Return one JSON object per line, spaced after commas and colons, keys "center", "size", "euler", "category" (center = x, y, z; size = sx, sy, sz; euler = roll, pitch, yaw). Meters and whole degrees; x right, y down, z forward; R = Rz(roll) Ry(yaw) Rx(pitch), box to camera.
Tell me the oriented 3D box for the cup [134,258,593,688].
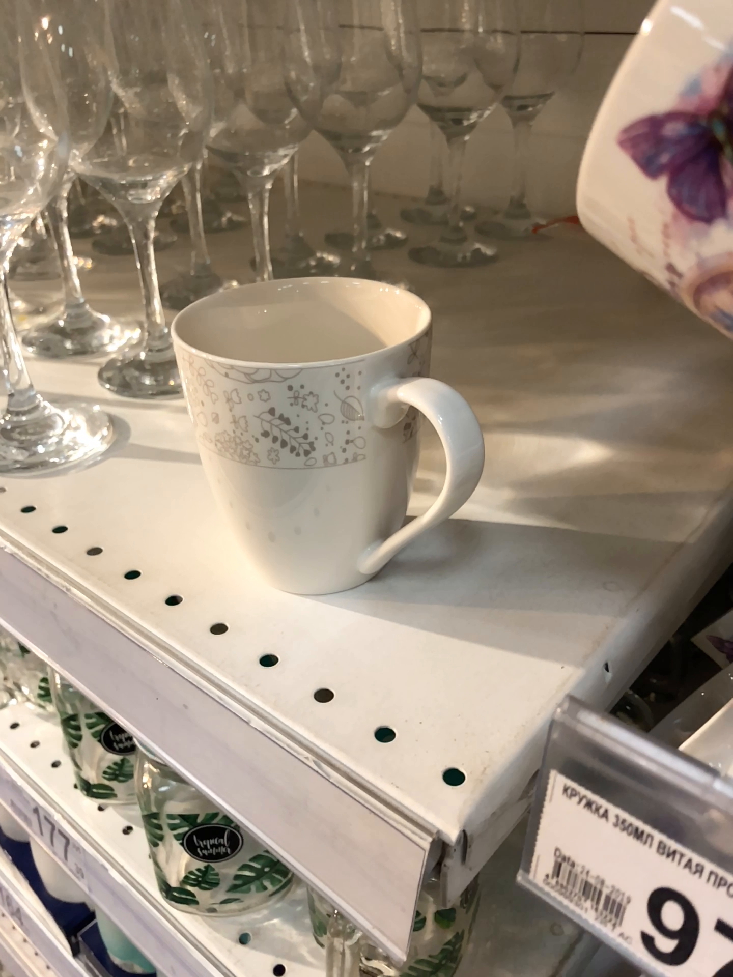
{"center": [-0.003, -0.017, 0.294], "size": [0.126, 0.091, 0.090], "euler": [26, 41, 37], "category": "cup"}
